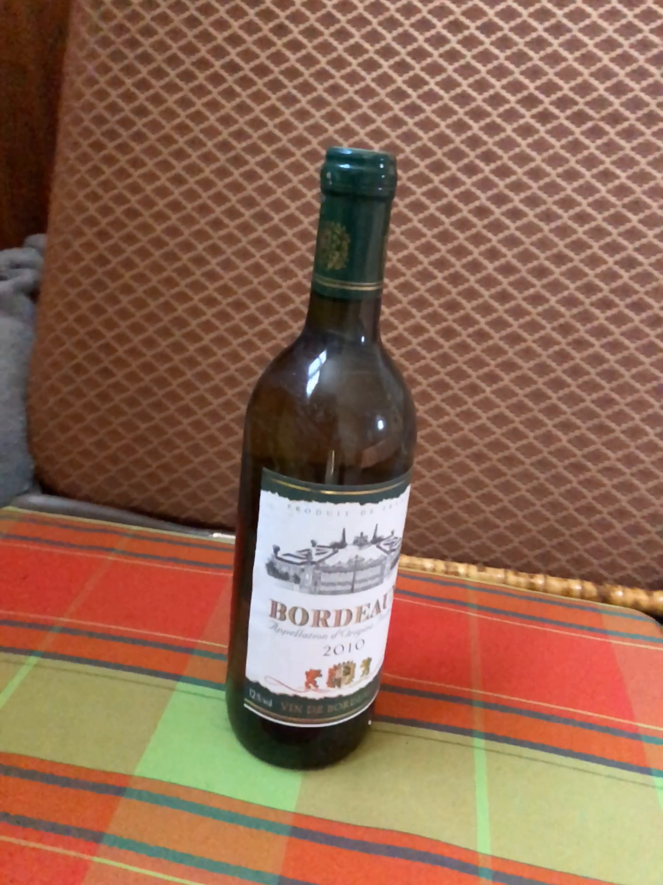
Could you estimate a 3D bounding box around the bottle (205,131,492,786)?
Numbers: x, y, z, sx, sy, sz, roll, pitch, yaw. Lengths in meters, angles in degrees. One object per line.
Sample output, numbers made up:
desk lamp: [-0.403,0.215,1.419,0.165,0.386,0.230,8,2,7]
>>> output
bottle: [-0.006,0.012,0.326,0.080,0.269,0.080,5,21,-2]
